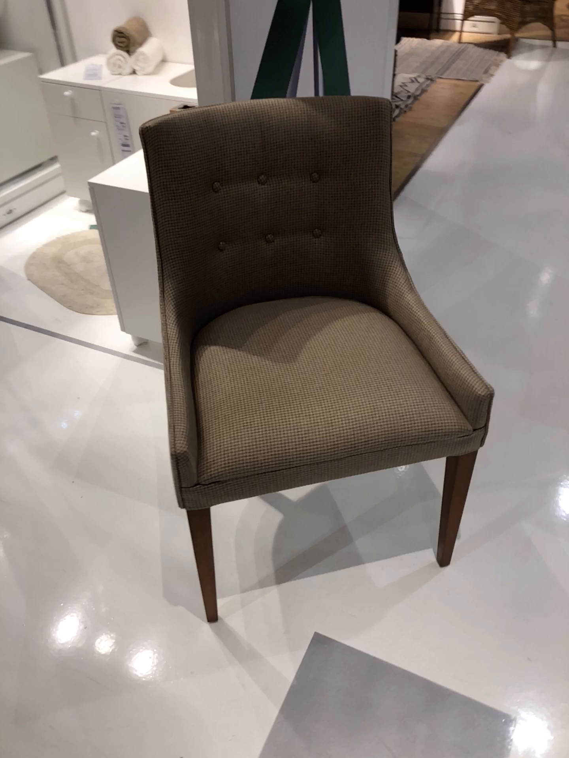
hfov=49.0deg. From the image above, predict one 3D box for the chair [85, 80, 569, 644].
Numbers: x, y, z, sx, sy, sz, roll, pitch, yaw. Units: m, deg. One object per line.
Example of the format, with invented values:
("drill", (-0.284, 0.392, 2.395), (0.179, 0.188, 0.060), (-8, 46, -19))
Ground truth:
("chair", (0.028, -0.039, 1.181), (0.590, 0.794, 0.594), (-8, 40, -8))
